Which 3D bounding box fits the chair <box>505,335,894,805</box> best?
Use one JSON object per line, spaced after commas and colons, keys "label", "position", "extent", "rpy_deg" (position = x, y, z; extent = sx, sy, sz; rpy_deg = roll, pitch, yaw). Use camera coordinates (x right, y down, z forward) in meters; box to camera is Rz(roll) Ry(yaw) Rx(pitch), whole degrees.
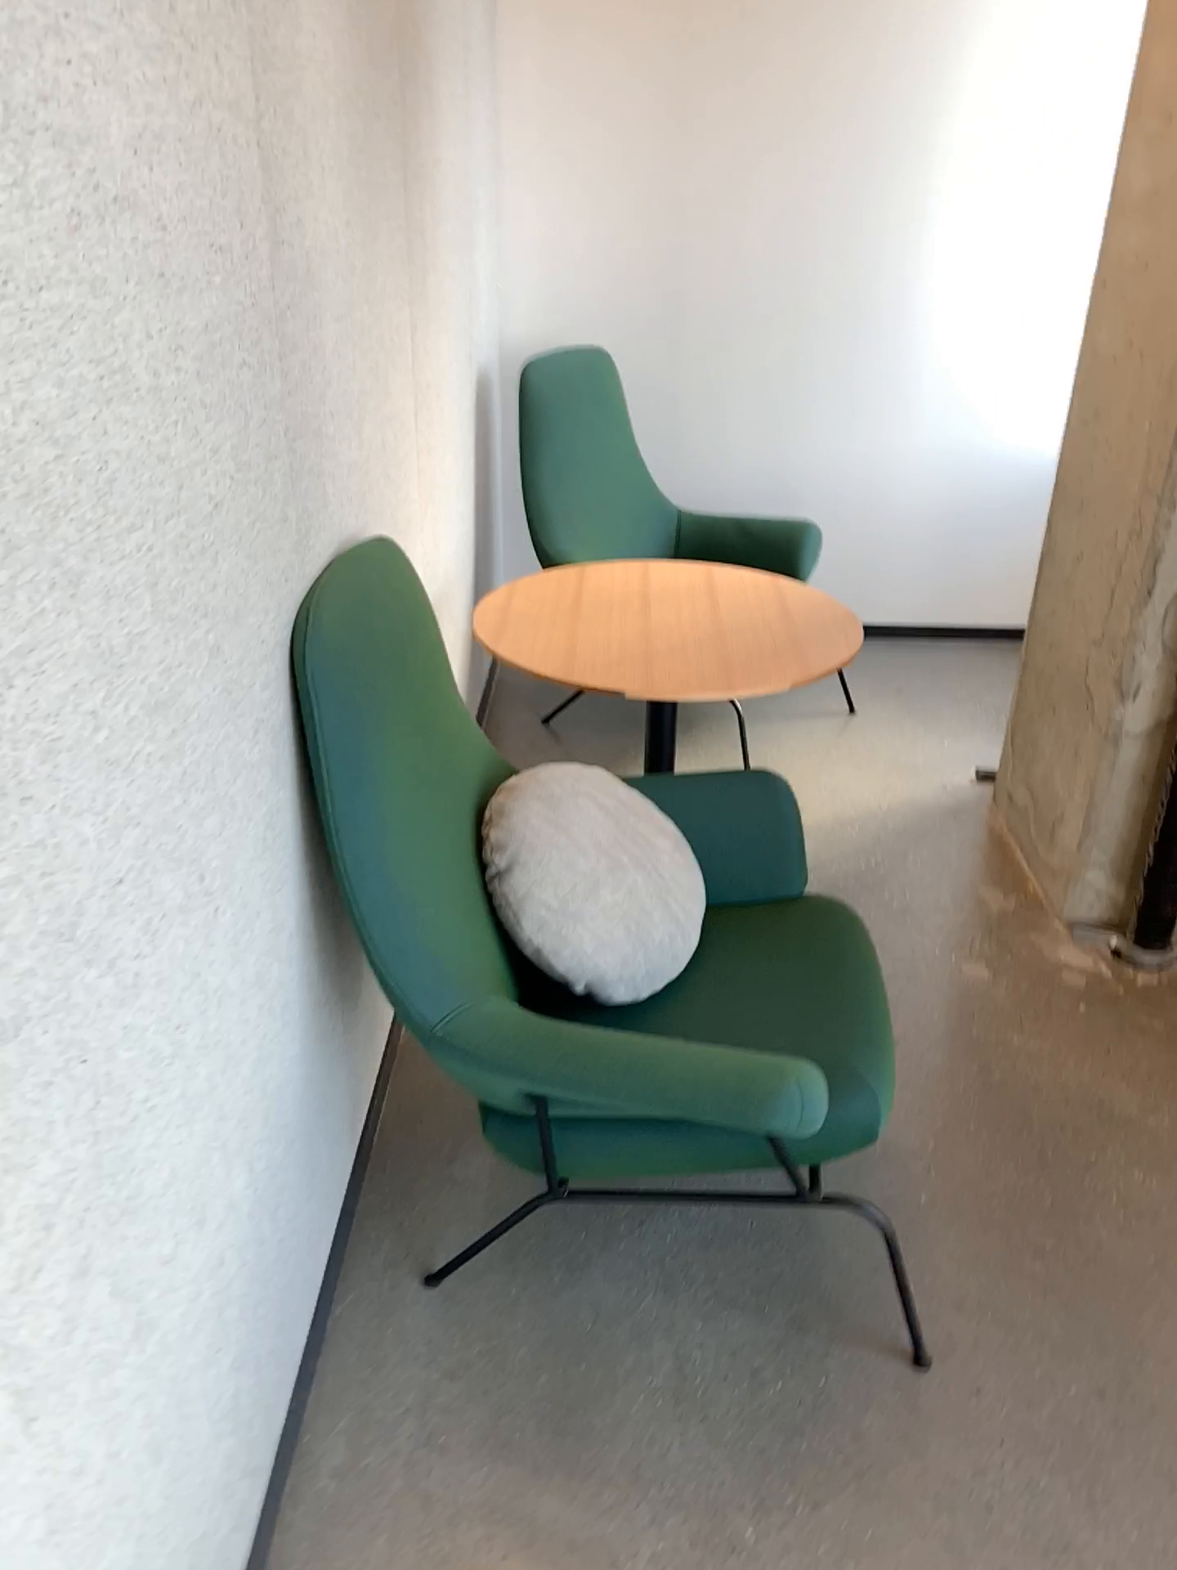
{"label": "chair", "position": [0.289, -0.620, 3.229], "extent": [0.751, 1.014, 0.653], "rpy_deg": [17, 31, 30]}

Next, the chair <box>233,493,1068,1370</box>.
{"label": "chair", "position": [0.088, 0.166, 1.748], "extent": [0.840, 0.994, 0.724], "rpy_deg": [2, 27, 5]}
